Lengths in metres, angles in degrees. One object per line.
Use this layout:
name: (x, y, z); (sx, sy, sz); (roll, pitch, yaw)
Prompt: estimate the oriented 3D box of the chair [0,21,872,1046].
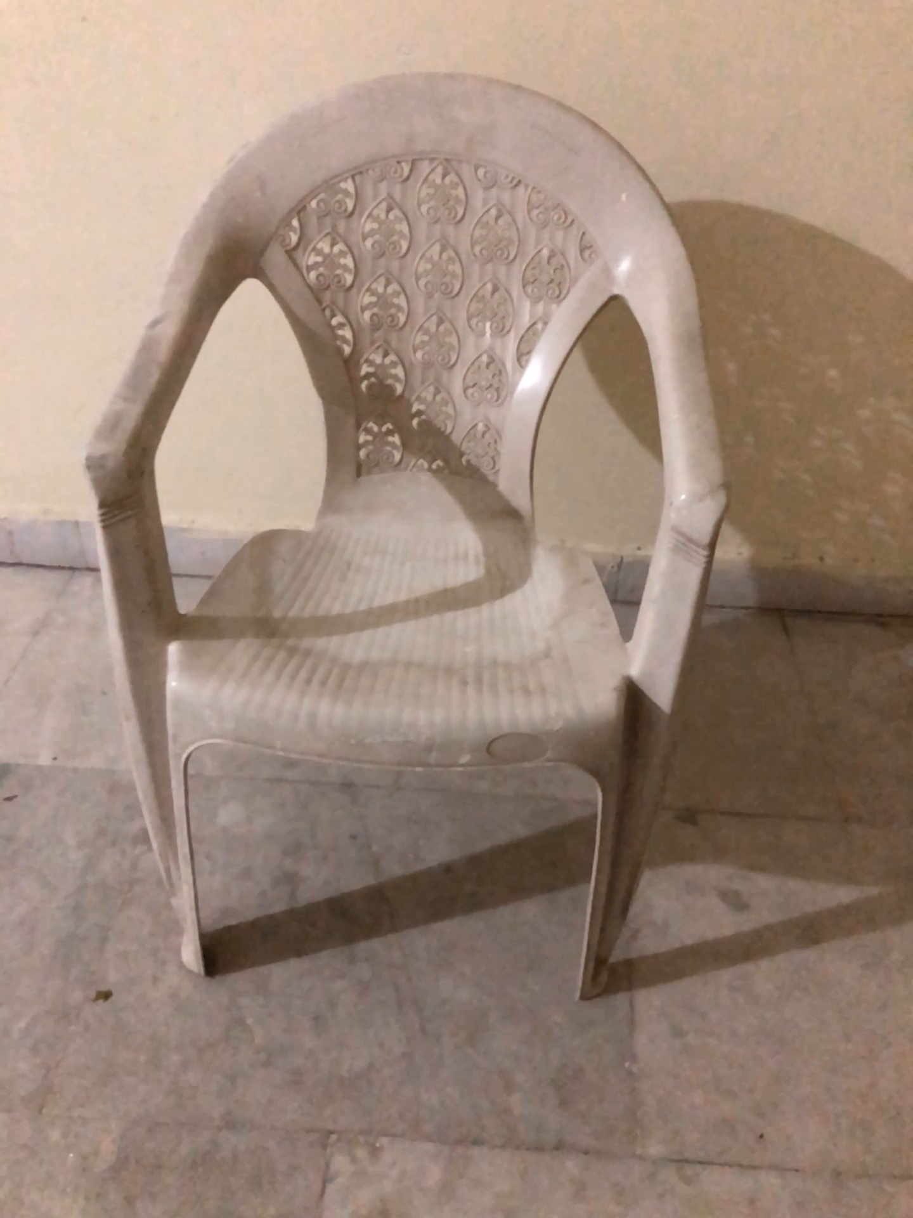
chair: (-0.038, -0.056, 0.993); (0.530, 0.834, 0.514); (4, 37, 2)
